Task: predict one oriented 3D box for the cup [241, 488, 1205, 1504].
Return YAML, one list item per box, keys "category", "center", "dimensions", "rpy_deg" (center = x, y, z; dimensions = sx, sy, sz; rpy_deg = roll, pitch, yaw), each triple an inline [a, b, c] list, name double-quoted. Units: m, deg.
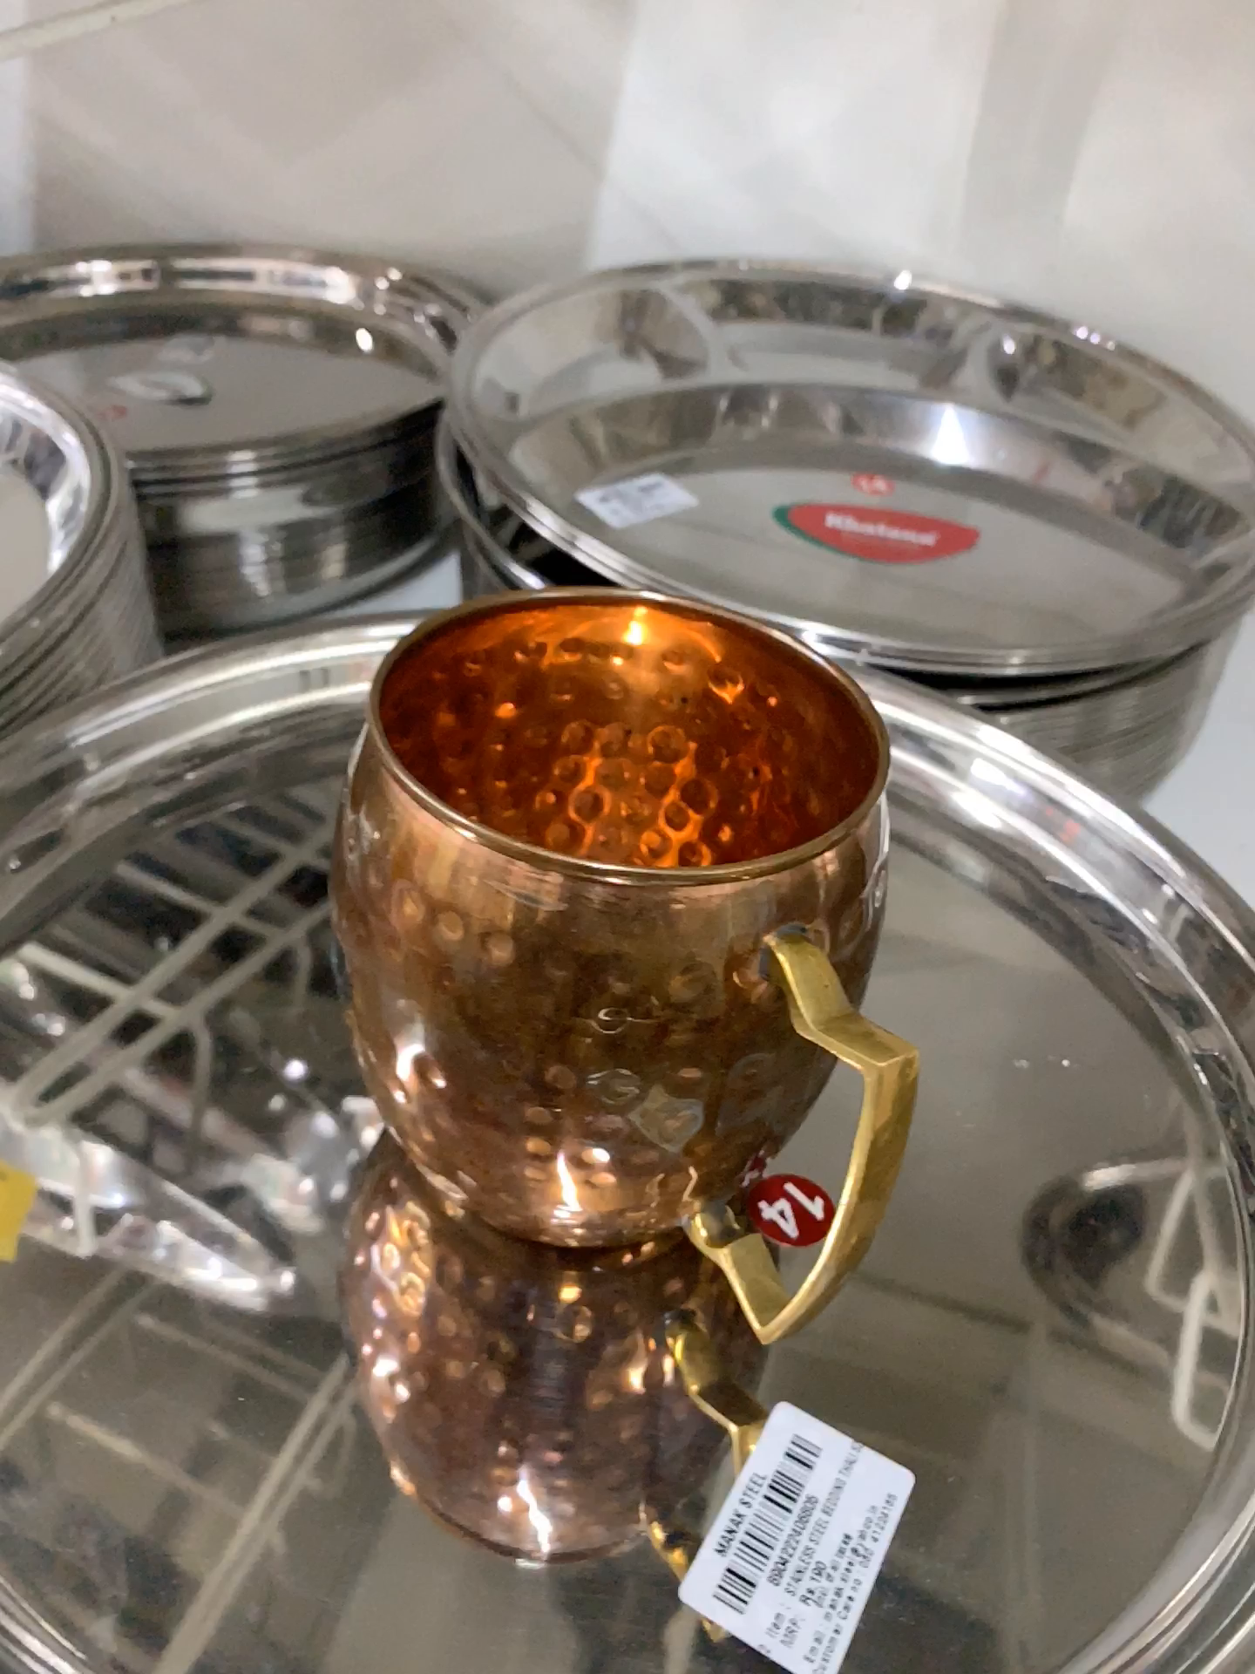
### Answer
- category: "cup"
  center: [0.004, 0.016, 0.211]
  dimensions: [0.090, 0.090, 0.110]
  rpy_deg: [-17, 44, -24]
